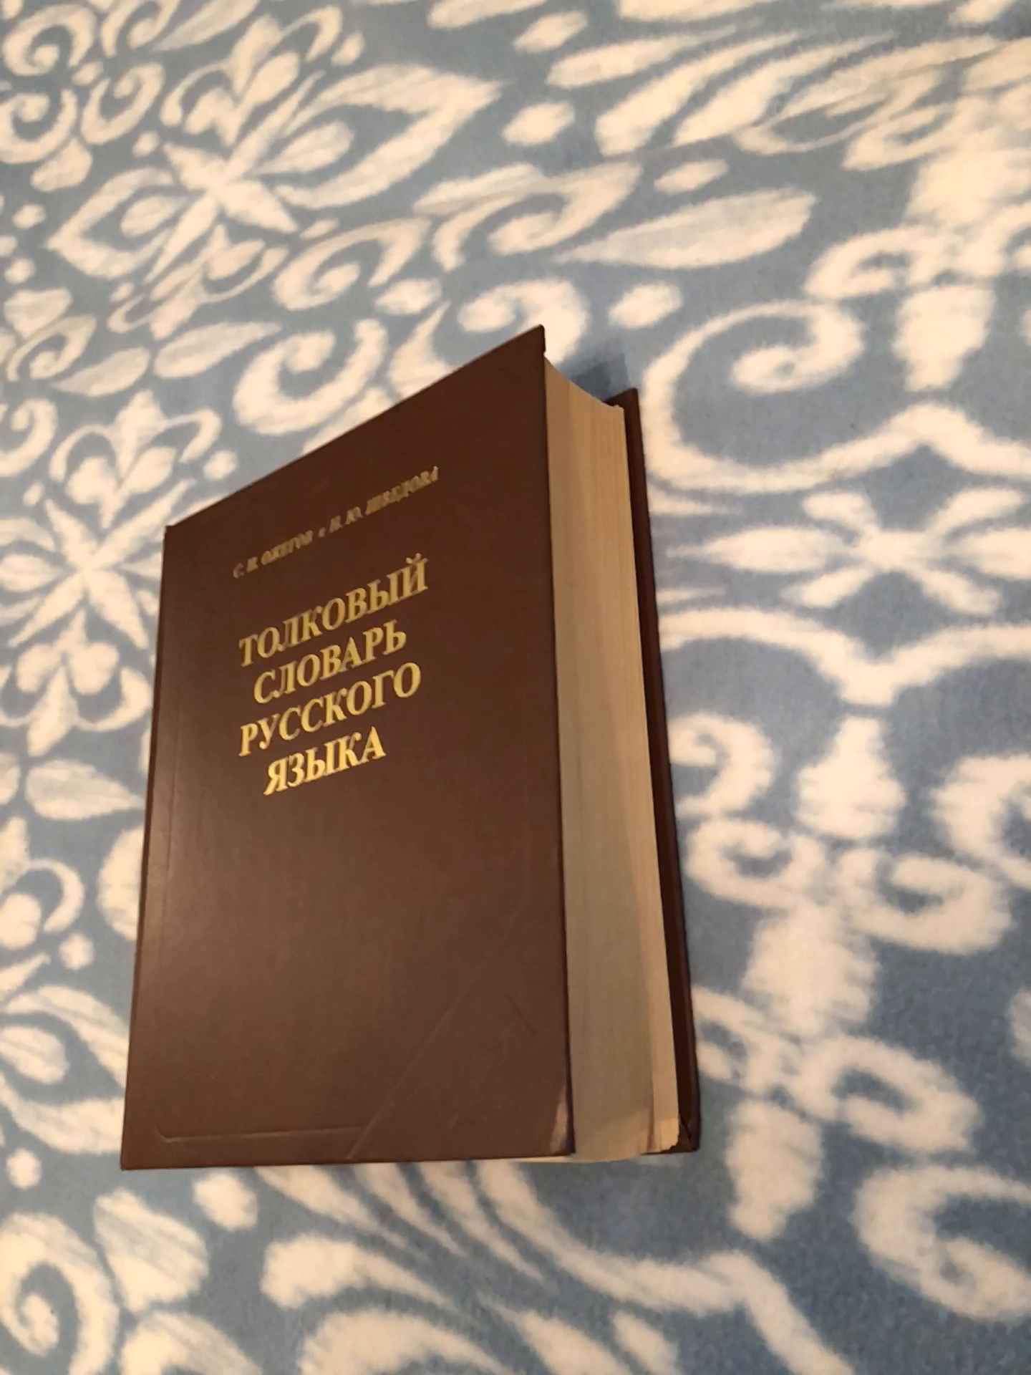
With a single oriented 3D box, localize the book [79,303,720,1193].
[{"bbox_3d":[-0.052,0.034,0.416,0.221,0.067,0.271,-18,63,35],"label":"book"}]
